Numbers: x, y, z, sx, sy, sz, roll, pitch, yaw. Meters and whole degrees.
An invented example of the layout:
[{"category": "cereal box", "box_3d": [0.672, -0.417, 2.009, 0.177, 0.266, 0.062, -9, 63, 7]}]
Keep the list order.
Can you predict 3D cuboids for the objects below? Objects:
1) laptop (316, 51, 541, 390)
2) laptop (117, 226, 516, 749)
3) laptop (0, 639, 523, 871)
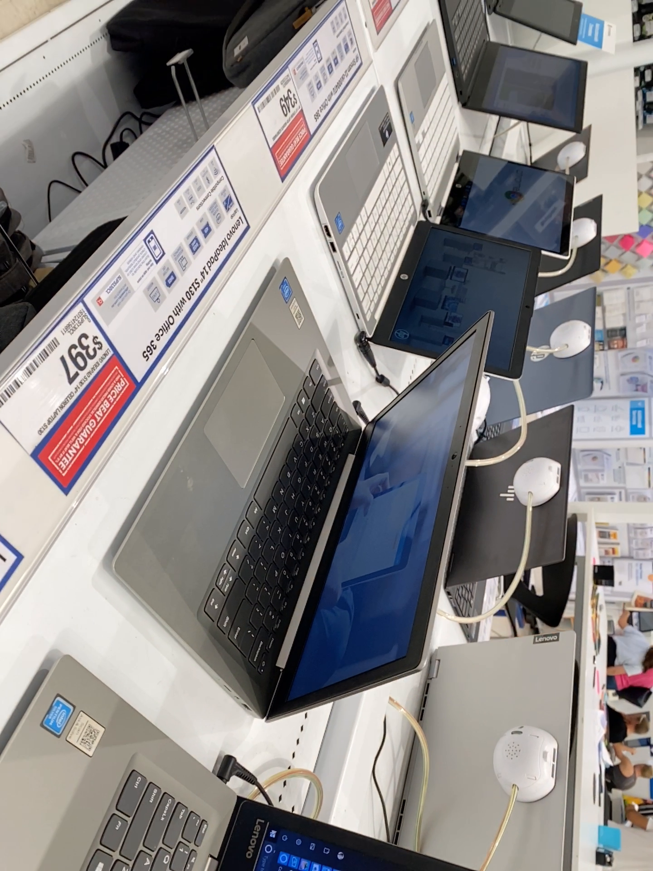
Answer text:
[{"category": "laptop", "box_3d": [0.154, -0.261, 0.833, 0.285, 0.155, 0.305, 63, 34, -39]}, {"category": "laptop", "box_3d": [0.034, 0.033, 0.553, 0.231, 0.171, 0.330, 64, 35, -41]}, {"category": "laptop", "box_3d": [-0.047, 0.345, 0.331, 0.310, 0.215, 0.330, 66, 34, -40]}]
